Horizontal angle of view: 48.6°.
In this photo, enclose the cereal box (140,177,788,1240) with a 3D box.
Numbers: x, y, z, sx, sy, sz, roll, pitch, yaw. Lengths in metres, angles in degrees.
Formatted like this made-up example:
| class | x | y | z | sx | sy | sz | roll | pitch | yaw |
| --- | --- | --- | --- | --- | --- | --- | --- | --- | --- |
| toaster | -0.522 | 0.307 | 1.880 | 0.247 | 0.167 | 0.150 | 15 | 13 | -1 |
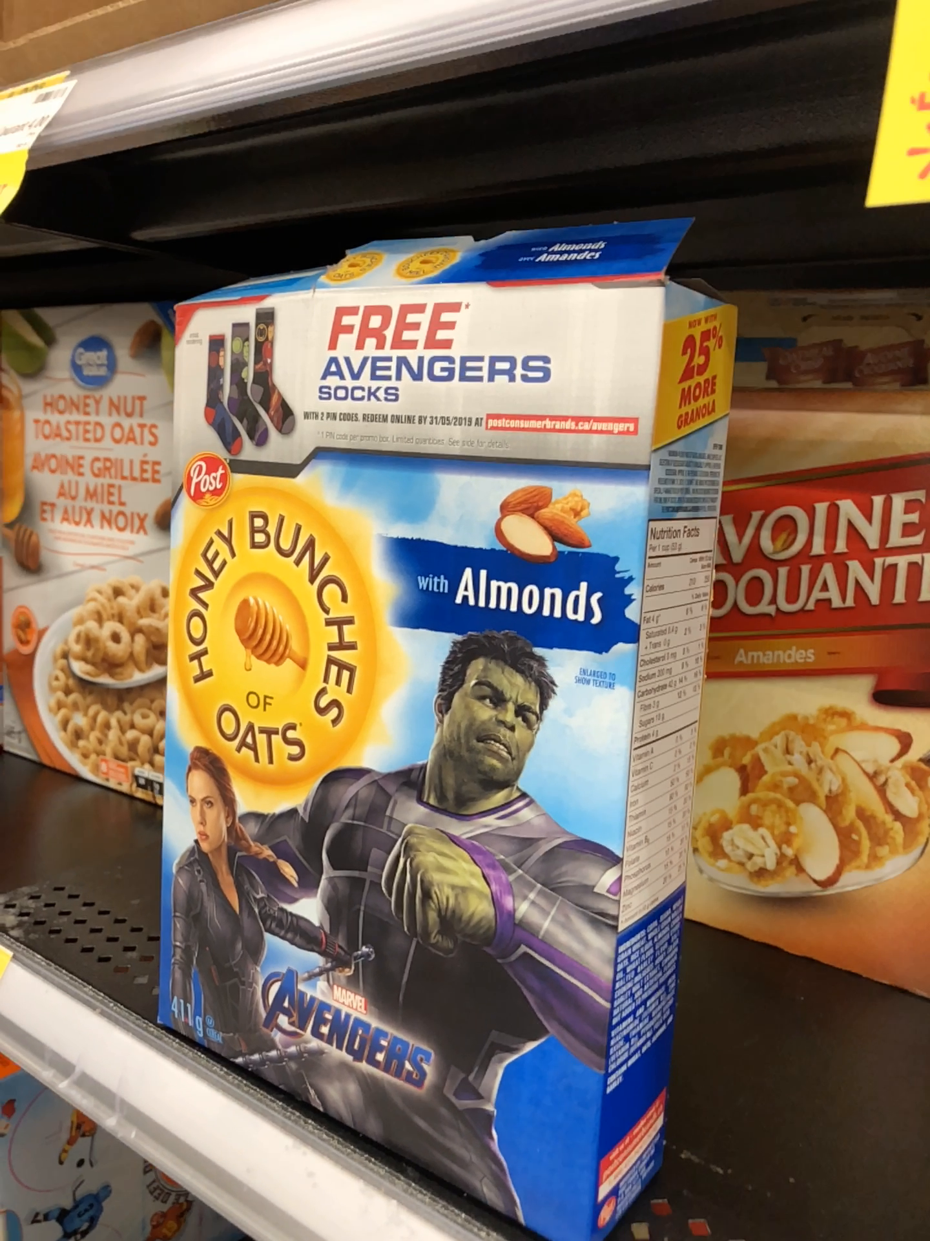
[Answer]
| class | x | y | z | sx | sy | sz | roll | pitch | yaw |
| --- | --- | --- | --- | --- | --- | --- | --- | --- | --- |
| cereal box | -0.016 | 0.022 | 0.346 | 0.200 | 0.289 | 0.070 | 9 | 12 | 35 |
